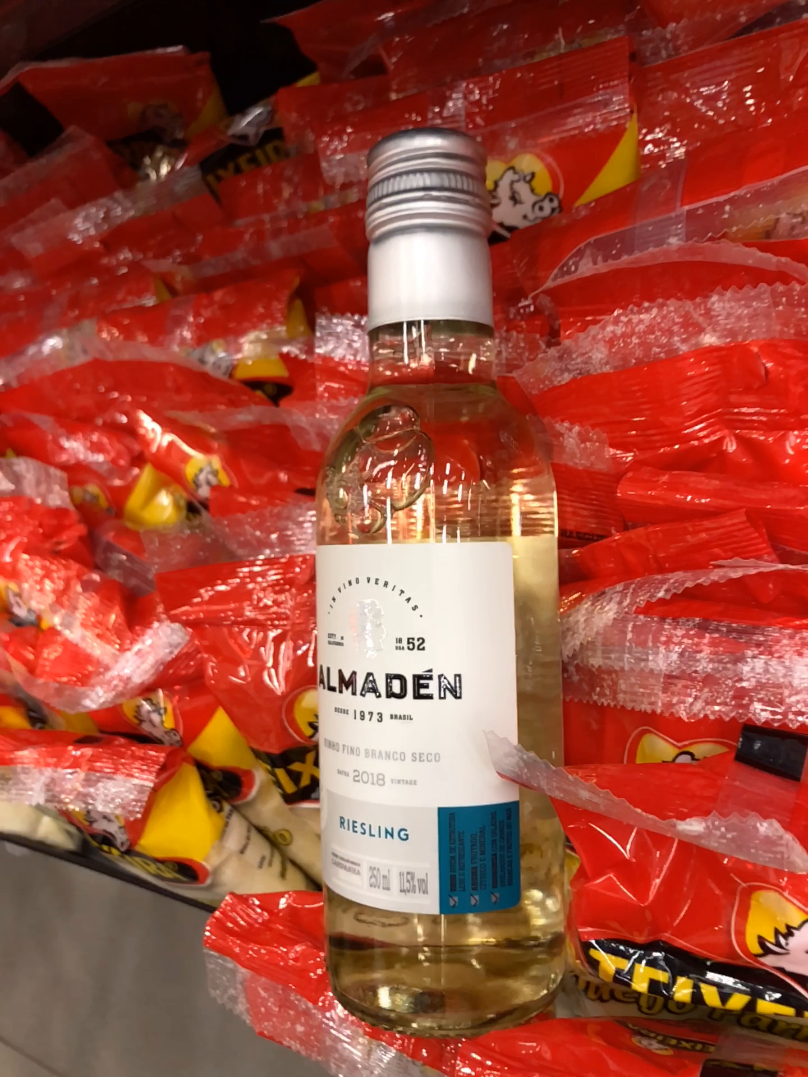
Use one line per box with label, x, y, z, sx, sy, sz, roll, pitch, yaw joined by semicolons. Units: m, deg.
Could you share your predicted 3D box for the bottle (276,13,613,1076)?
bottle;0.010;0.002;0.208;0.060;0.040;0.210;-1;86;37
